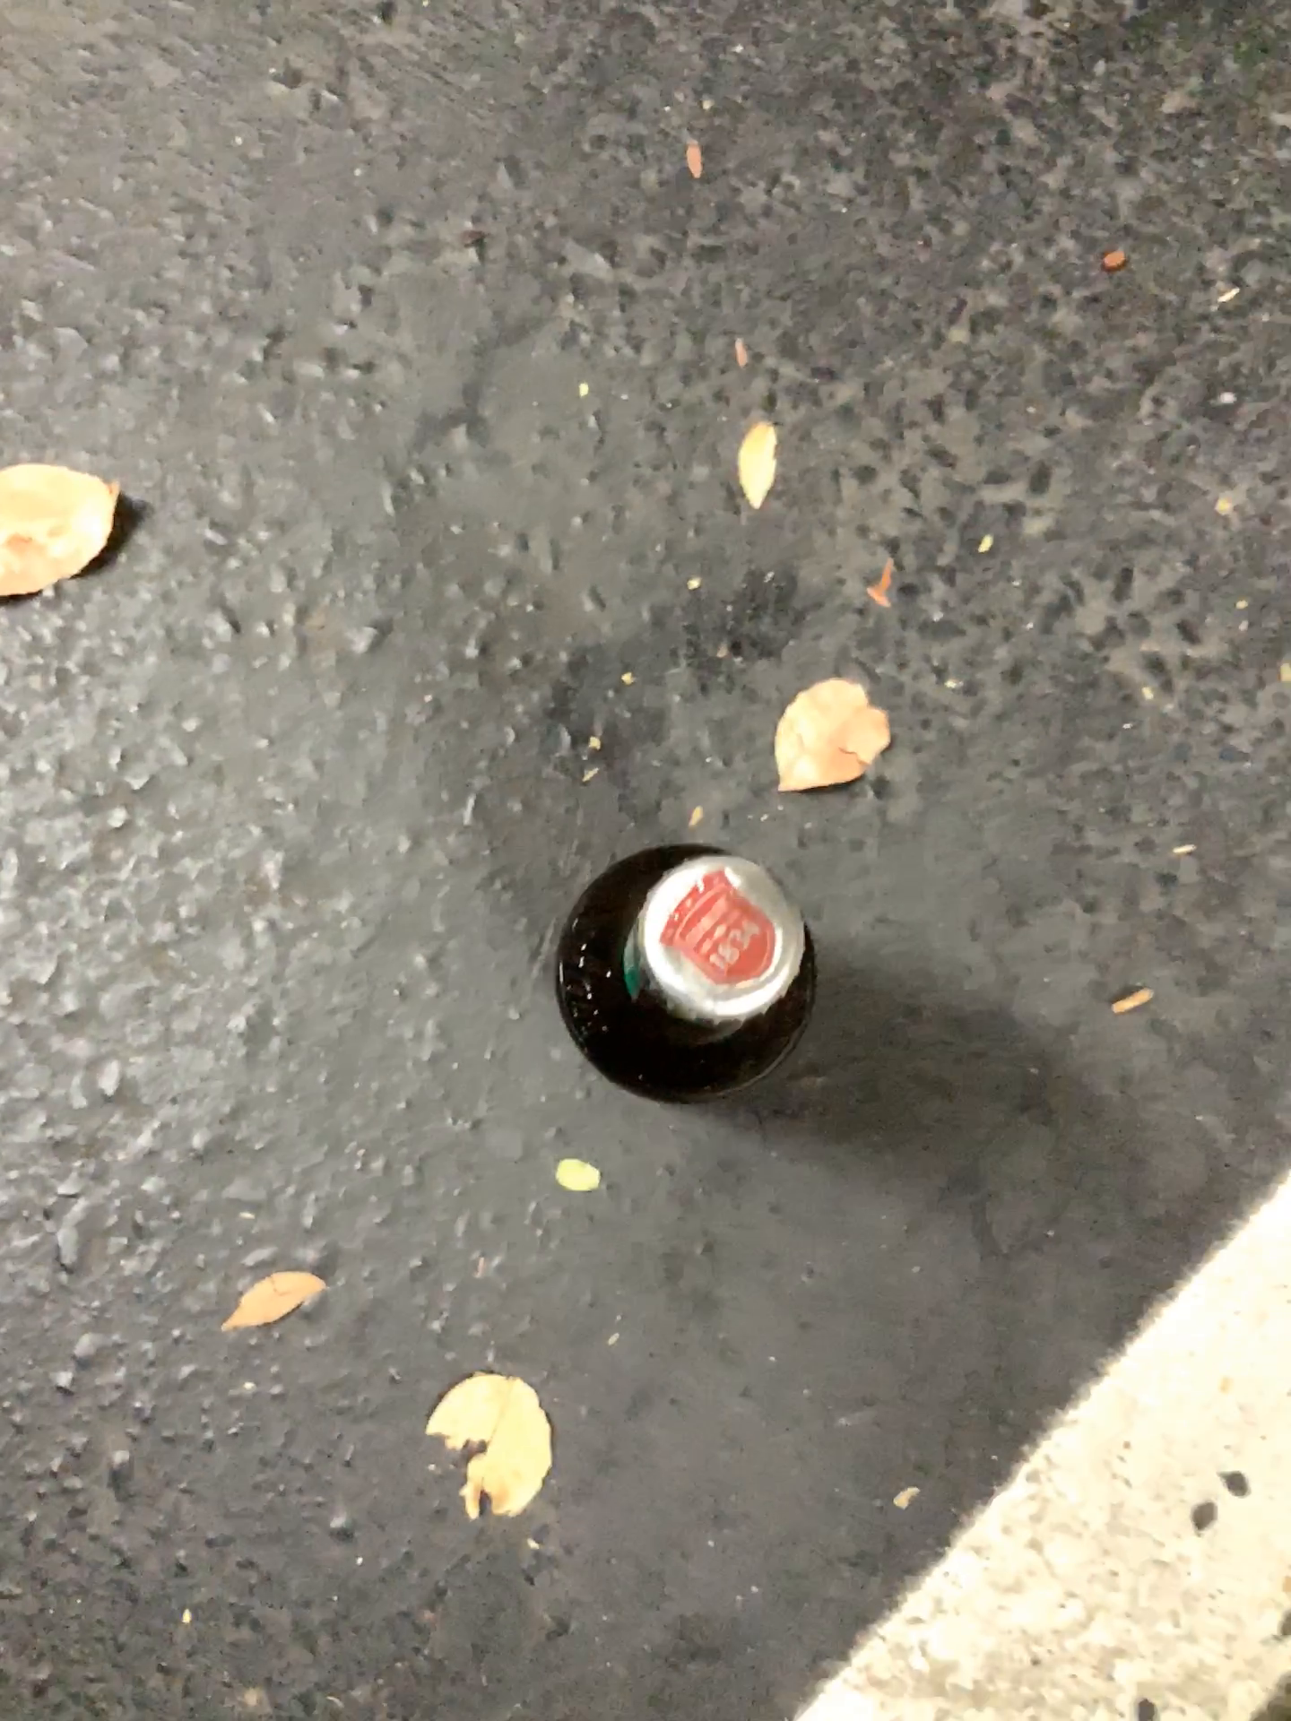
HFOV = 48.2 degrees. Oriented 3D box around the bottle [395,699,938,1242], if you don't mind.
[{"bbox_3d":[0.002,0.028,0.330,0.070,0.210,0.070,0,84,0],"label":"bottle"}]
